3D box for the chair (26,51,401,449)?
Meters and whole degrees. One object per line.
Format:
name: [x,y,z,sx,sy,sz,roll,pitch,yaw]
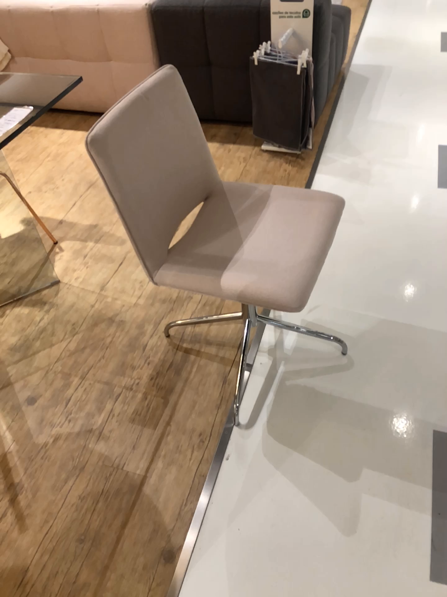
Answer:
chair: [0.057,-0.151,1.332,0.631,0.745,0.654,11,47,18]
